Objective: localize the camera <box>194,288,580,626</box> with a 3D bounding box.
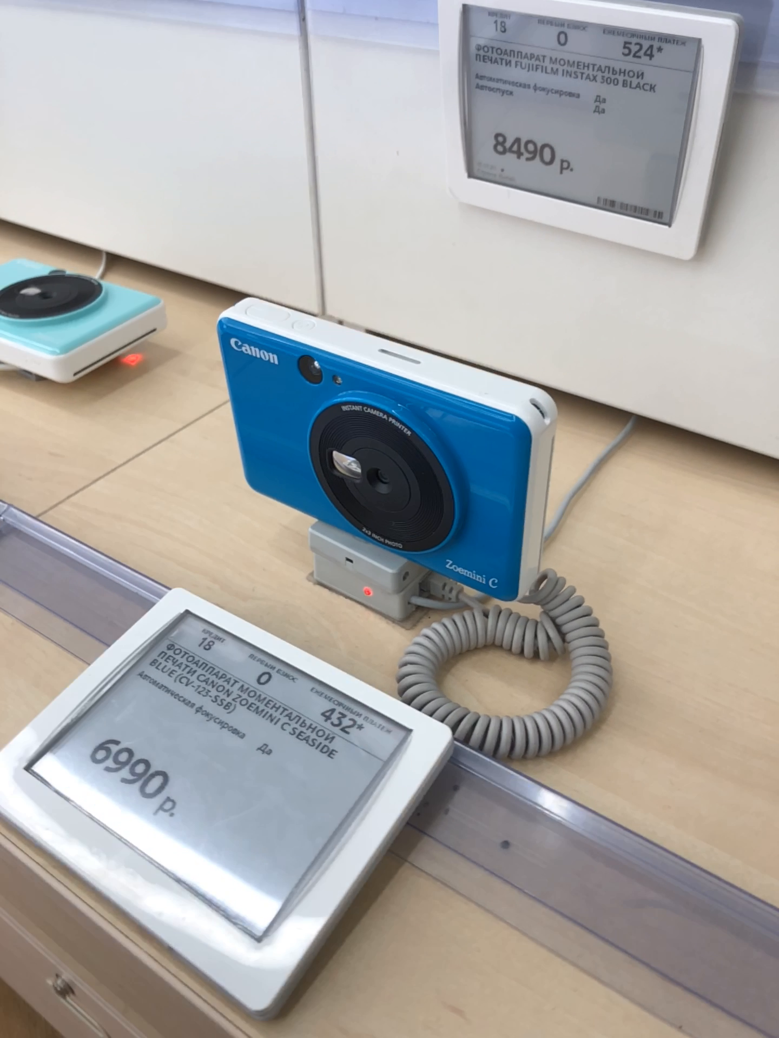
[{"bbox_3d":[-0.003,-0.023,0.279,0.120,0.070,0.030,23,49,28],"label":"camera"}]
